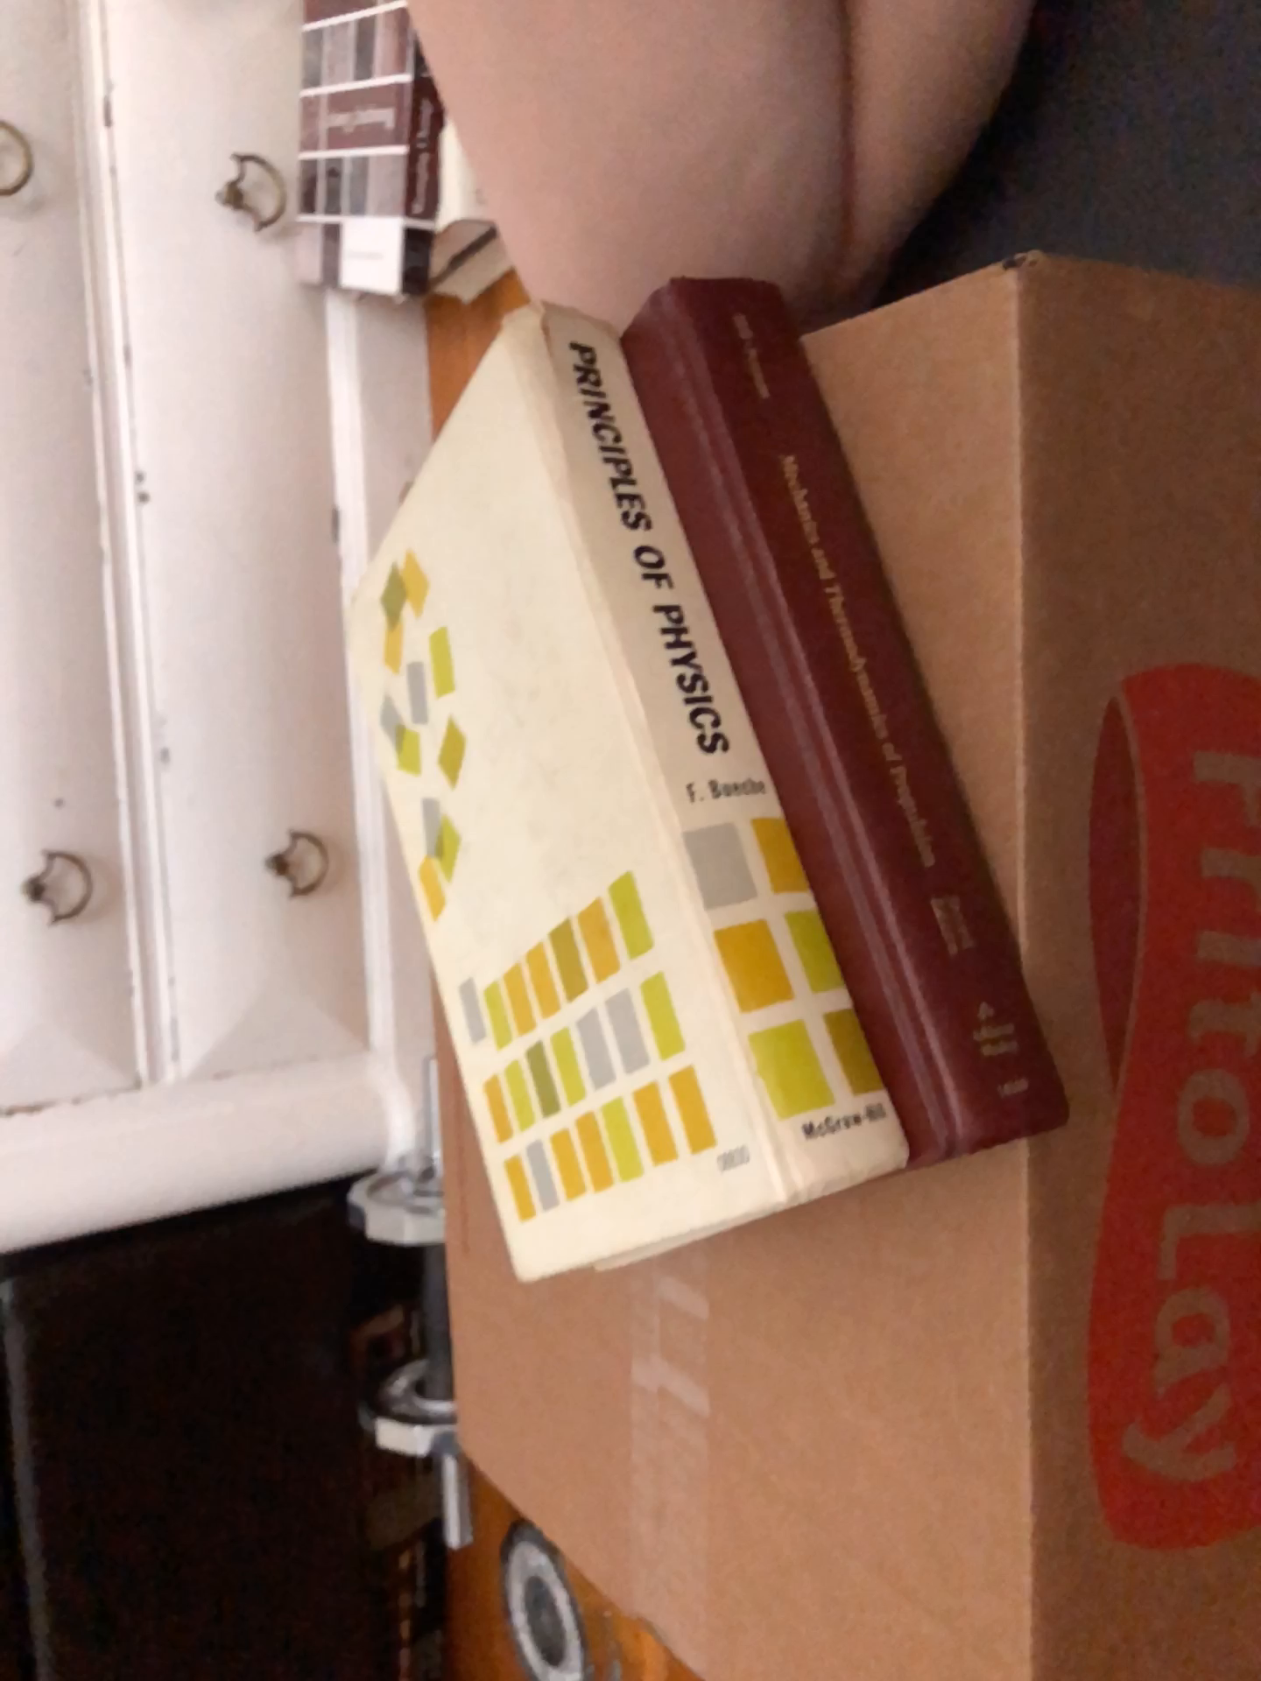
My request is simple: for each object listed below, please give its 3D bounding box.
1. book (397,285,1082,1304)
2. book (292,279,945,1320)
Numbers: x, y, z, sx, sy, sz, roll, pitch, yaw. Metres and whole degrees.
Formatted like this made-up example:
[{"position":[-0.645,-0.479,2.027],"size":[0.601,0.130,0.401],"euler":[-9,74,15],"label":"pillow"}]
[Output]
[{"position":[0.011,0.001,0.420],"size":[0.181,0.040,0.250],"euler":[-34,68,54],"label":"book"},{"position":[-0.025,0.000,0.416],"size":[0.181,0.040,0.250],"euler":[-39,65,53],"label":"book"}]
